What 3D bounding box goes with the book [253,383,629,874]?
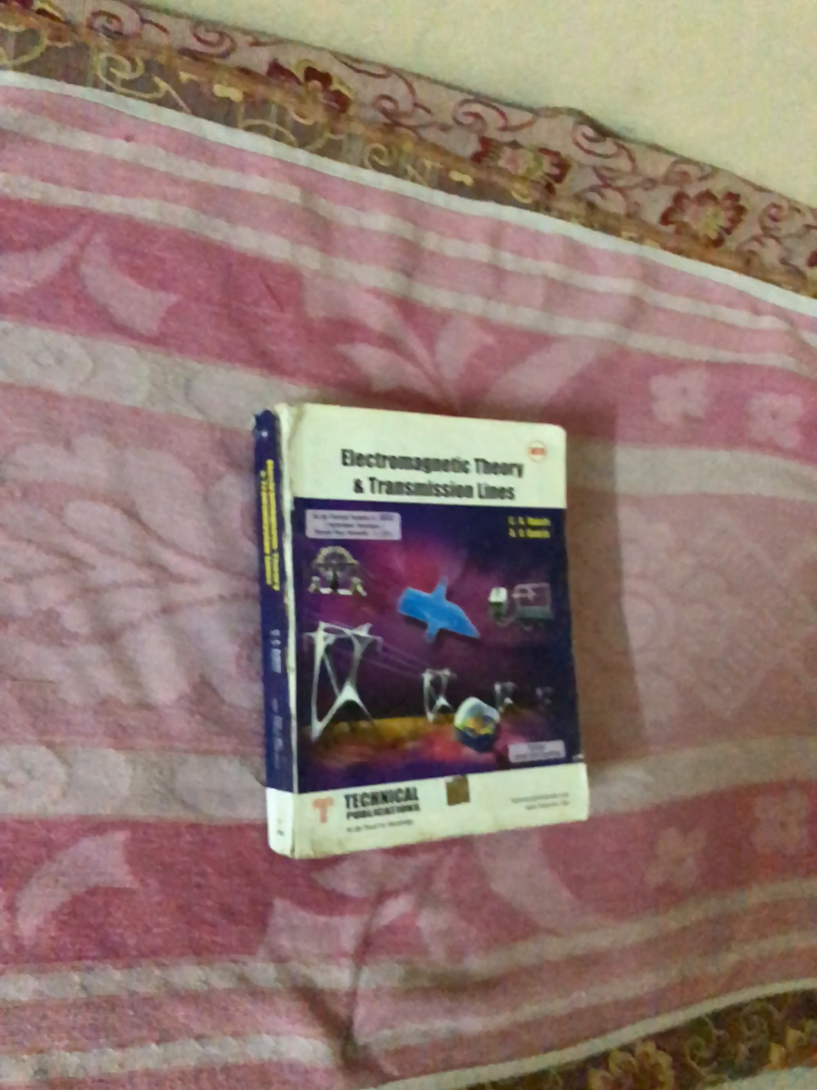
[{"bbox_3d":[0.019,0.043,0.533,0.201,0.060,0.250,0,82,-25],"label":"book"}]
